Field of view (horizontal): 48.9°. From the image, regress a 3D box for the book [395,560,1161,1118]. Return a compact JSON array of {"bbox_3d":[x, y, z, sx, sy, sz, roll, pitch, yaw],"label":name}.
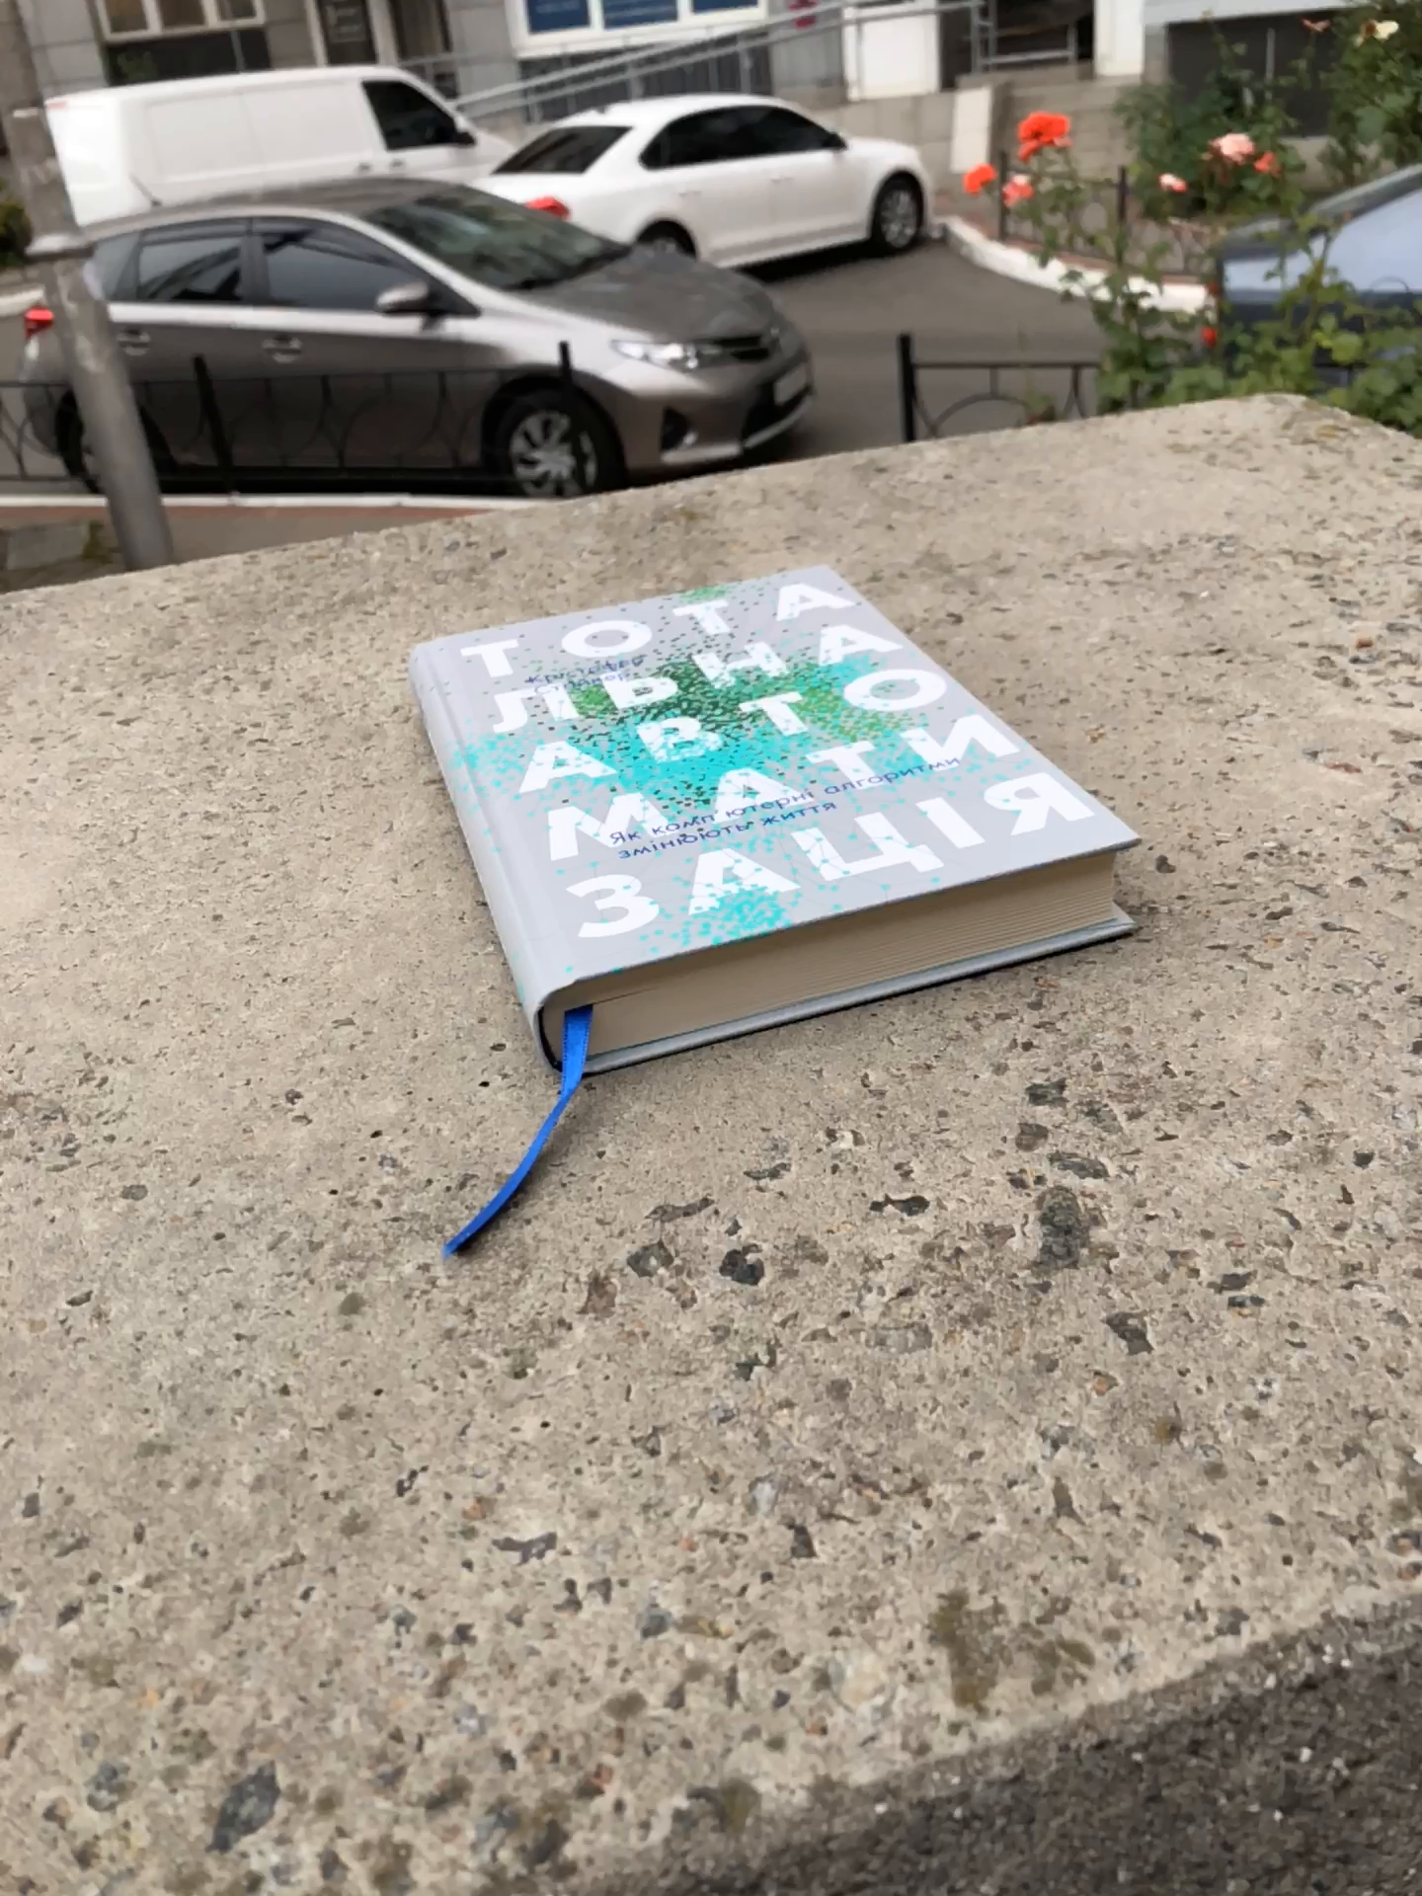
[{"bbox_3d":[0.002,-0.048,0.447,0.150,0.030,0.222,-14,34,-12],"label":"book"}]
